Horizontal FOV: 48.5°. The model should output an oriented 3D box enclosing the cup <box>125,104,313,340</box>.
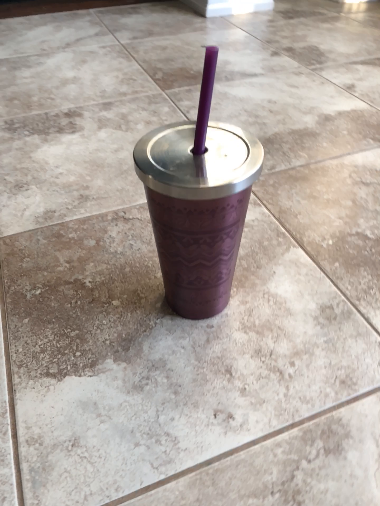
[{"bbox_3d":[0.021,-0.028,0.391,0.111,0.165,0.103,0,42,0],"label":"cup"}]
